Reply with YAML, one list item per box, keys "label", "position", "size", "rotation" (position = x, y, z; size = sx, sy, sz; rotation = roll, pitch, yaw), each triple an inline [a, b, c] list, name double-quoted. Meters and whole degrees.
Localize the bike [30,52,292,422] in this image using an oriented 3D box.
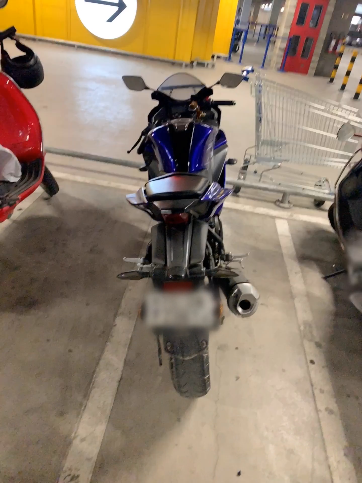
- label: "bike"
  position: [-0.235, -0.217, 1.864]
  size: [0.687, 0.932, 1.658]
  rotation: [2, 36, -11]
